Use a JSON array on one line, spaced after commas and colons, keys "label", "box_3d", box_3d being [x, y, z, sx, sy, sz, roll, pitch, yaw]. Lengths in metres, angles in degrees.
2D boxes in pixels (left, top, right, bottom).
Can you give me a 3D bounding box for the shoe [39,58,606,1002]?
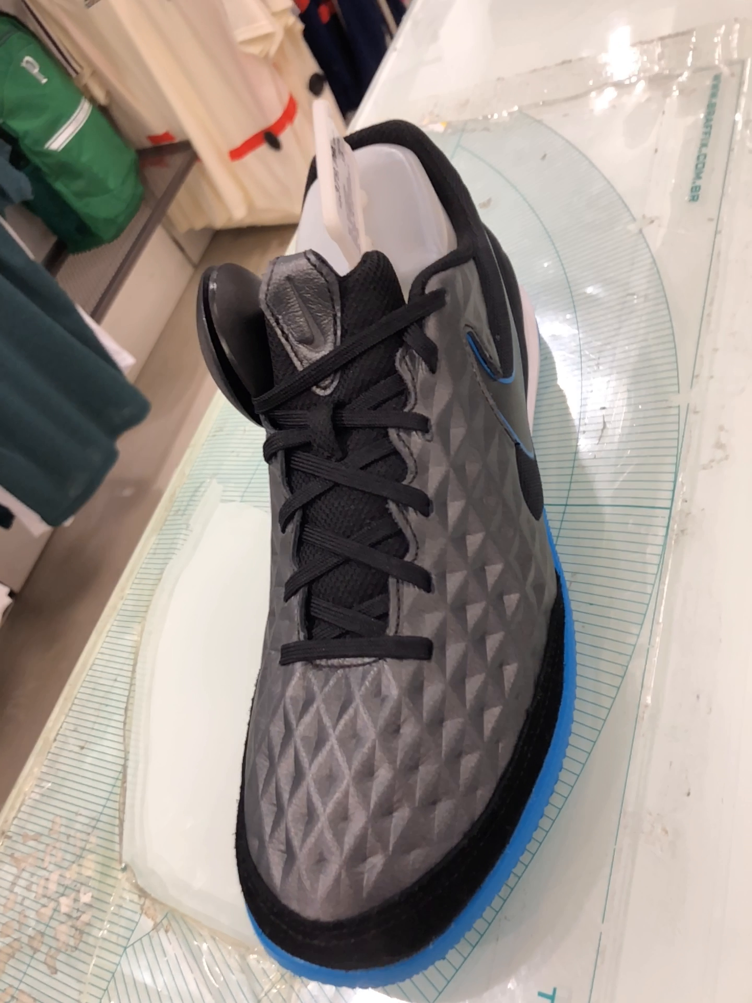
[{"label": "shoe", "box_3d": [0.014, -0.005, 0.276, 0.100, 0.099, 0.291, -7, 53, 25]}]
